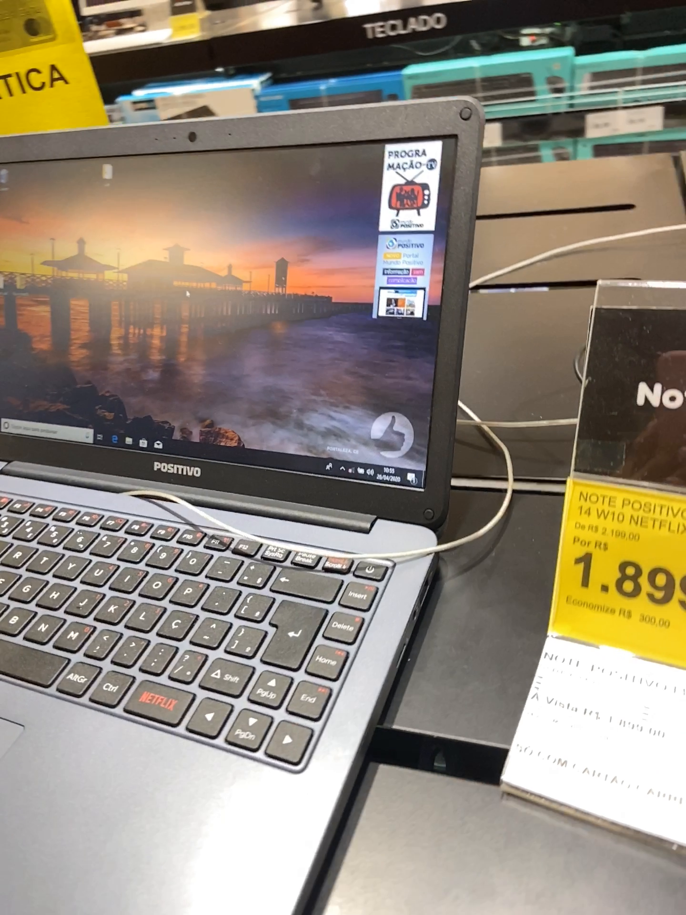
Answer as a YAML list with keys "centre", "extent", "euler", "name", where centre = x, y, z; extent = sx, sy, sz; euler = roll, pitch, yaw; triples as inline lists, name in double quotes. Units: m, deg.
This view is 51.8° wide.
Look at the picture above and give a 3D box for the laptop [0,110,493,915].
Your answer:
- centre: [-0.137, -0.015, 0.335]
  extent: [0.332, 0.172, 0.343]
  euler: [7, 40, 23]
  name: "laptop"
